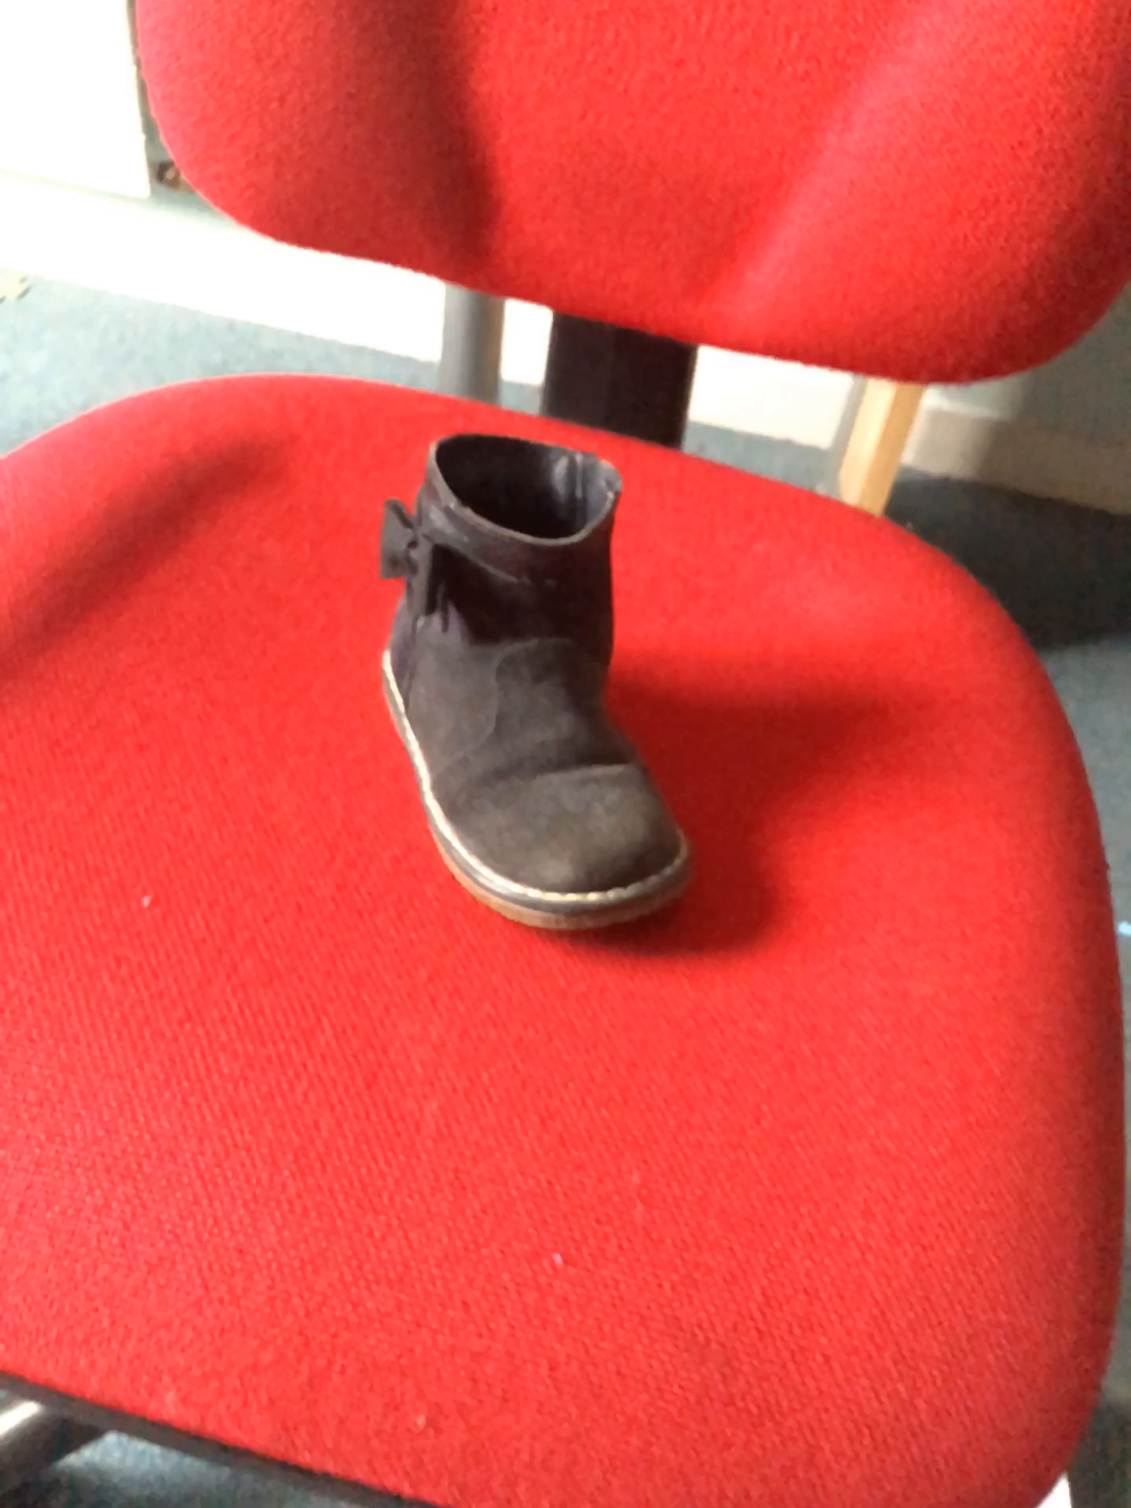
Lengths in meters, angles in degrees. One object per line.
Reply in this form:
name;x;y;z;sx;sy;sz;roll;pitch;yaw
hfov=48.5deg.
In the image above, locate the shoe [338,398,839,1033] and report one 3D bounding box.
shoe;-0.005;-0.017;0.374;0.080;0.099;0.150;-14;51;-21
